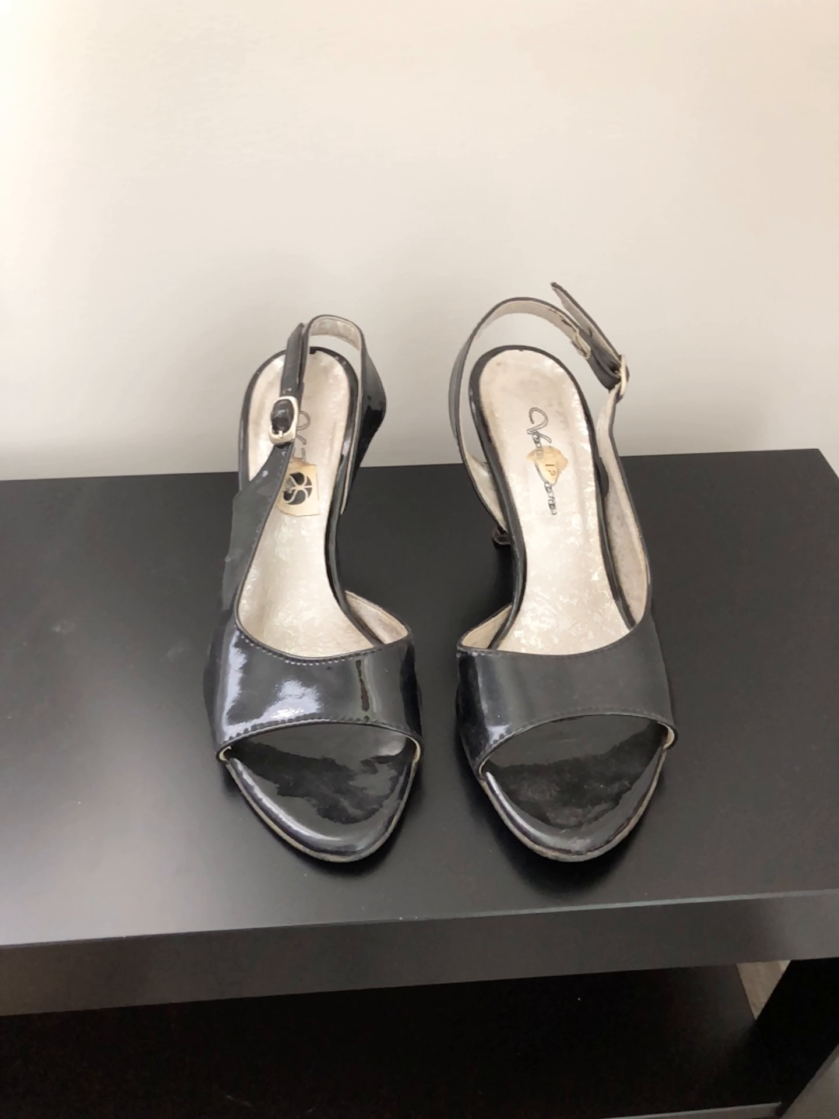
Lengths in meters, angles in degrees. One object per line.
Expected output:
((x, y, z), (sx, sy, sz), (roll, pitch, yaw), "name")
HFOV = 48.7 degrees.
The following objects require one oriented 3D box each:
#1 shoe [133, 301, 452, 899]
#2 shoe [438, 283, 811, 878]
((-0.047, 0.001, 0.358), (0.083, 0.110, 0.211), (-5, 42, -6), "shoe")
((0.054, -0.006, 0.349), (0.083, 0.110, 0.211), (0, 41, -1), "shoe")
